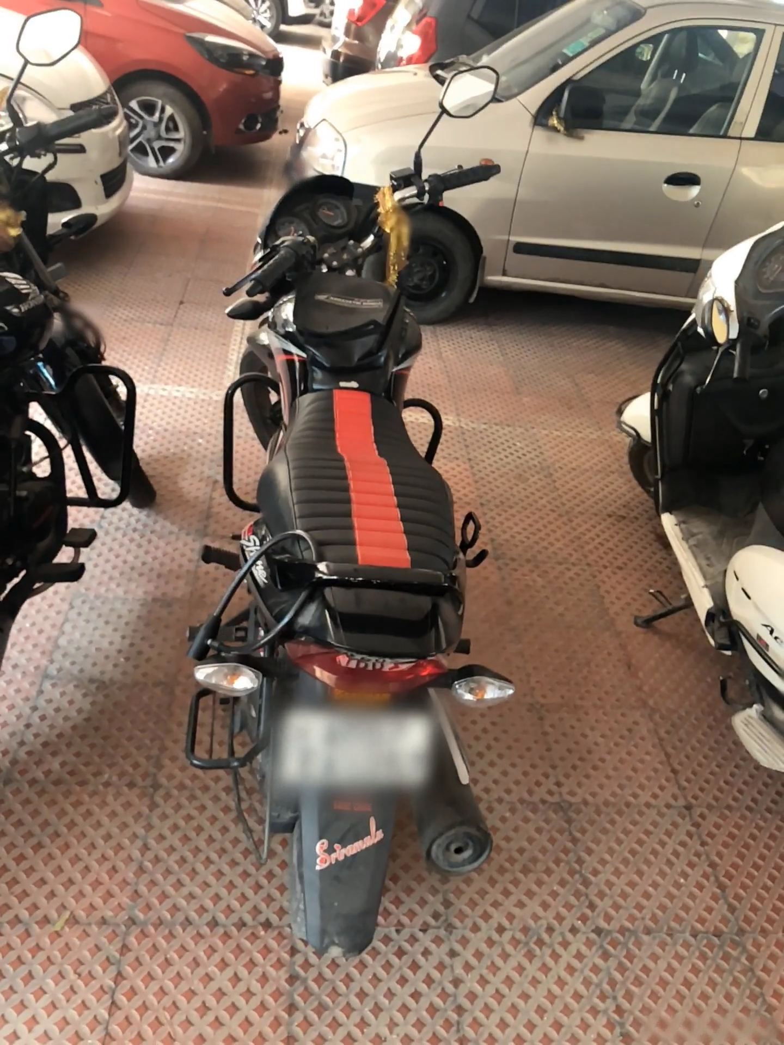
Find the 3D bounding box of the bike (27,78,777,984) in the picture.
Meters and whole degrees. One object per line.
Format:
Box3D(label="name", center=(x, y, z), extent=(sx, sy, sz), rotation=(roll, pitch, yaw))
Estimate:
Box3D(label="bike", center=(-0.225, -0.129, 1.733), extent=(0.746, 1.010, 1.562), rotation=(0, 36, -15))
